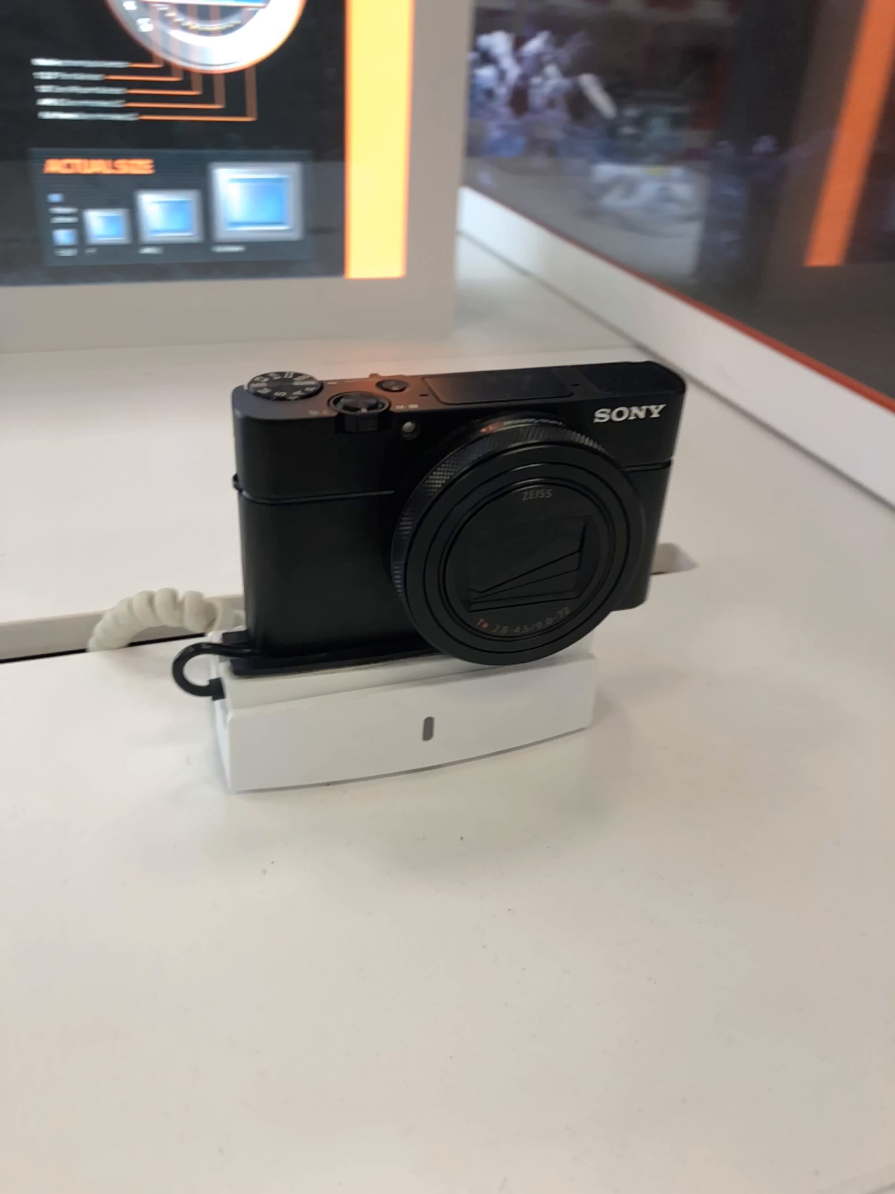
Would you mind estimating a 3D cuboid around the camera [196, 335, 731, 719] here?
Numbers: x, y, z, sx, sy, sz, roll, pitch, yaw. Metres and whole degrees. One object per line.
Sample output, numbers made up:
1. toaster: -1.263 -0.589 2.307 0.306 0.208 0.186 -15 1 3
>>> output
1. camera: 0.002 -0.019 0.237 0.110 0.070 0.040 -7 32 -17
